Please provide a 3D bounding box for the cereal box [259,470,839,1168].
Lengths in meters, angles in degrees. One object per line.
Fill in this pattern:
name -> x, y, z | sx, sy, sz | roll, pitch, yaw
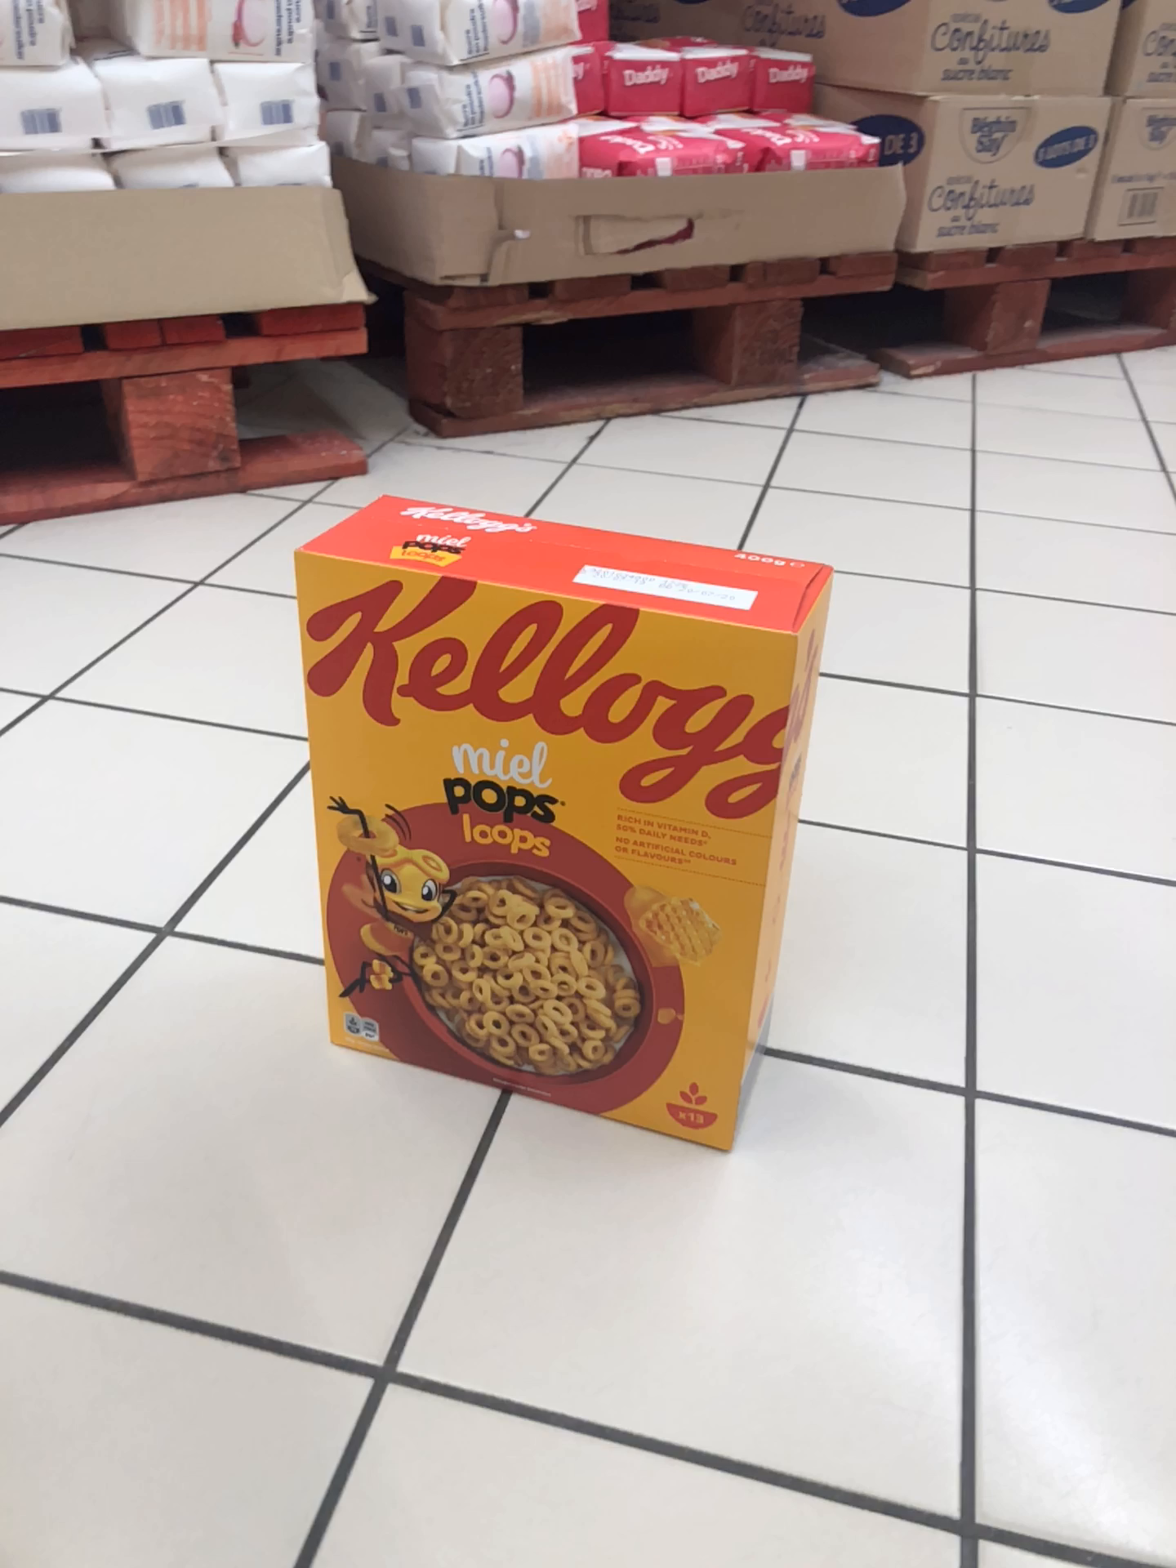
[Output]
cereal box -> -0.016, 0.015, 0.527 | 0.190, 0.239, 0.091 | 11, 32, 14
